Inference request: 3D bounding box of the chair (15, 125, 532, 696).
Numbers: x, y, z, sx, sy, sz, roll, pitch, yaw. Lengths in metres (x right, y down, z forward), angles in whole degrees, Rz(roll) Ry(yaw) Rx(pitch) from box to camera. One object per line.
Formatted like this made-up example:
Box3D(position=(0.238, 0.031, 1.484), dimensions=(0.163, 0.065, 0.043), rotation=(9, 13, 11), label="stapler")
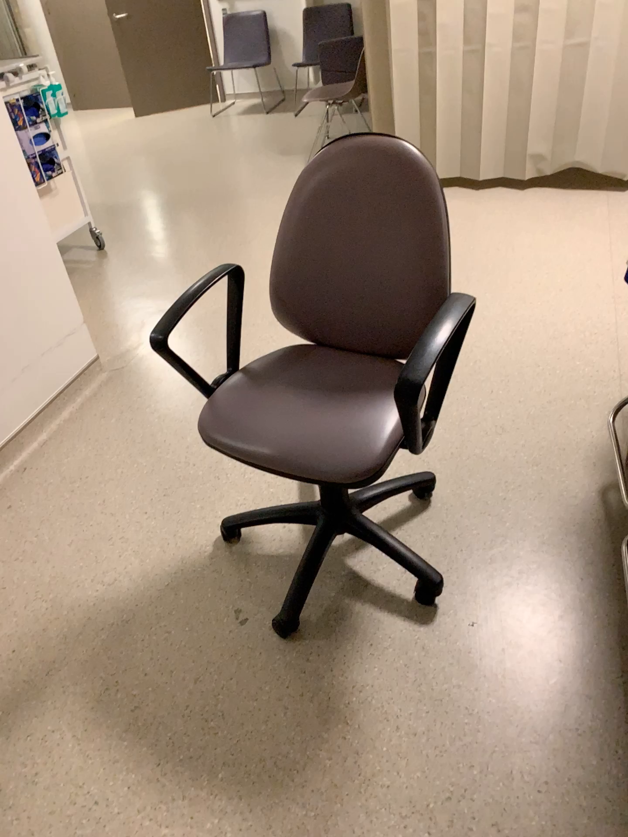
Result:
Box3D(position=(0.010, -0.077, 1.401), dimensions=(0.652, 0.881, 0.715), rotation=(15, 42, 28), label="chair")
